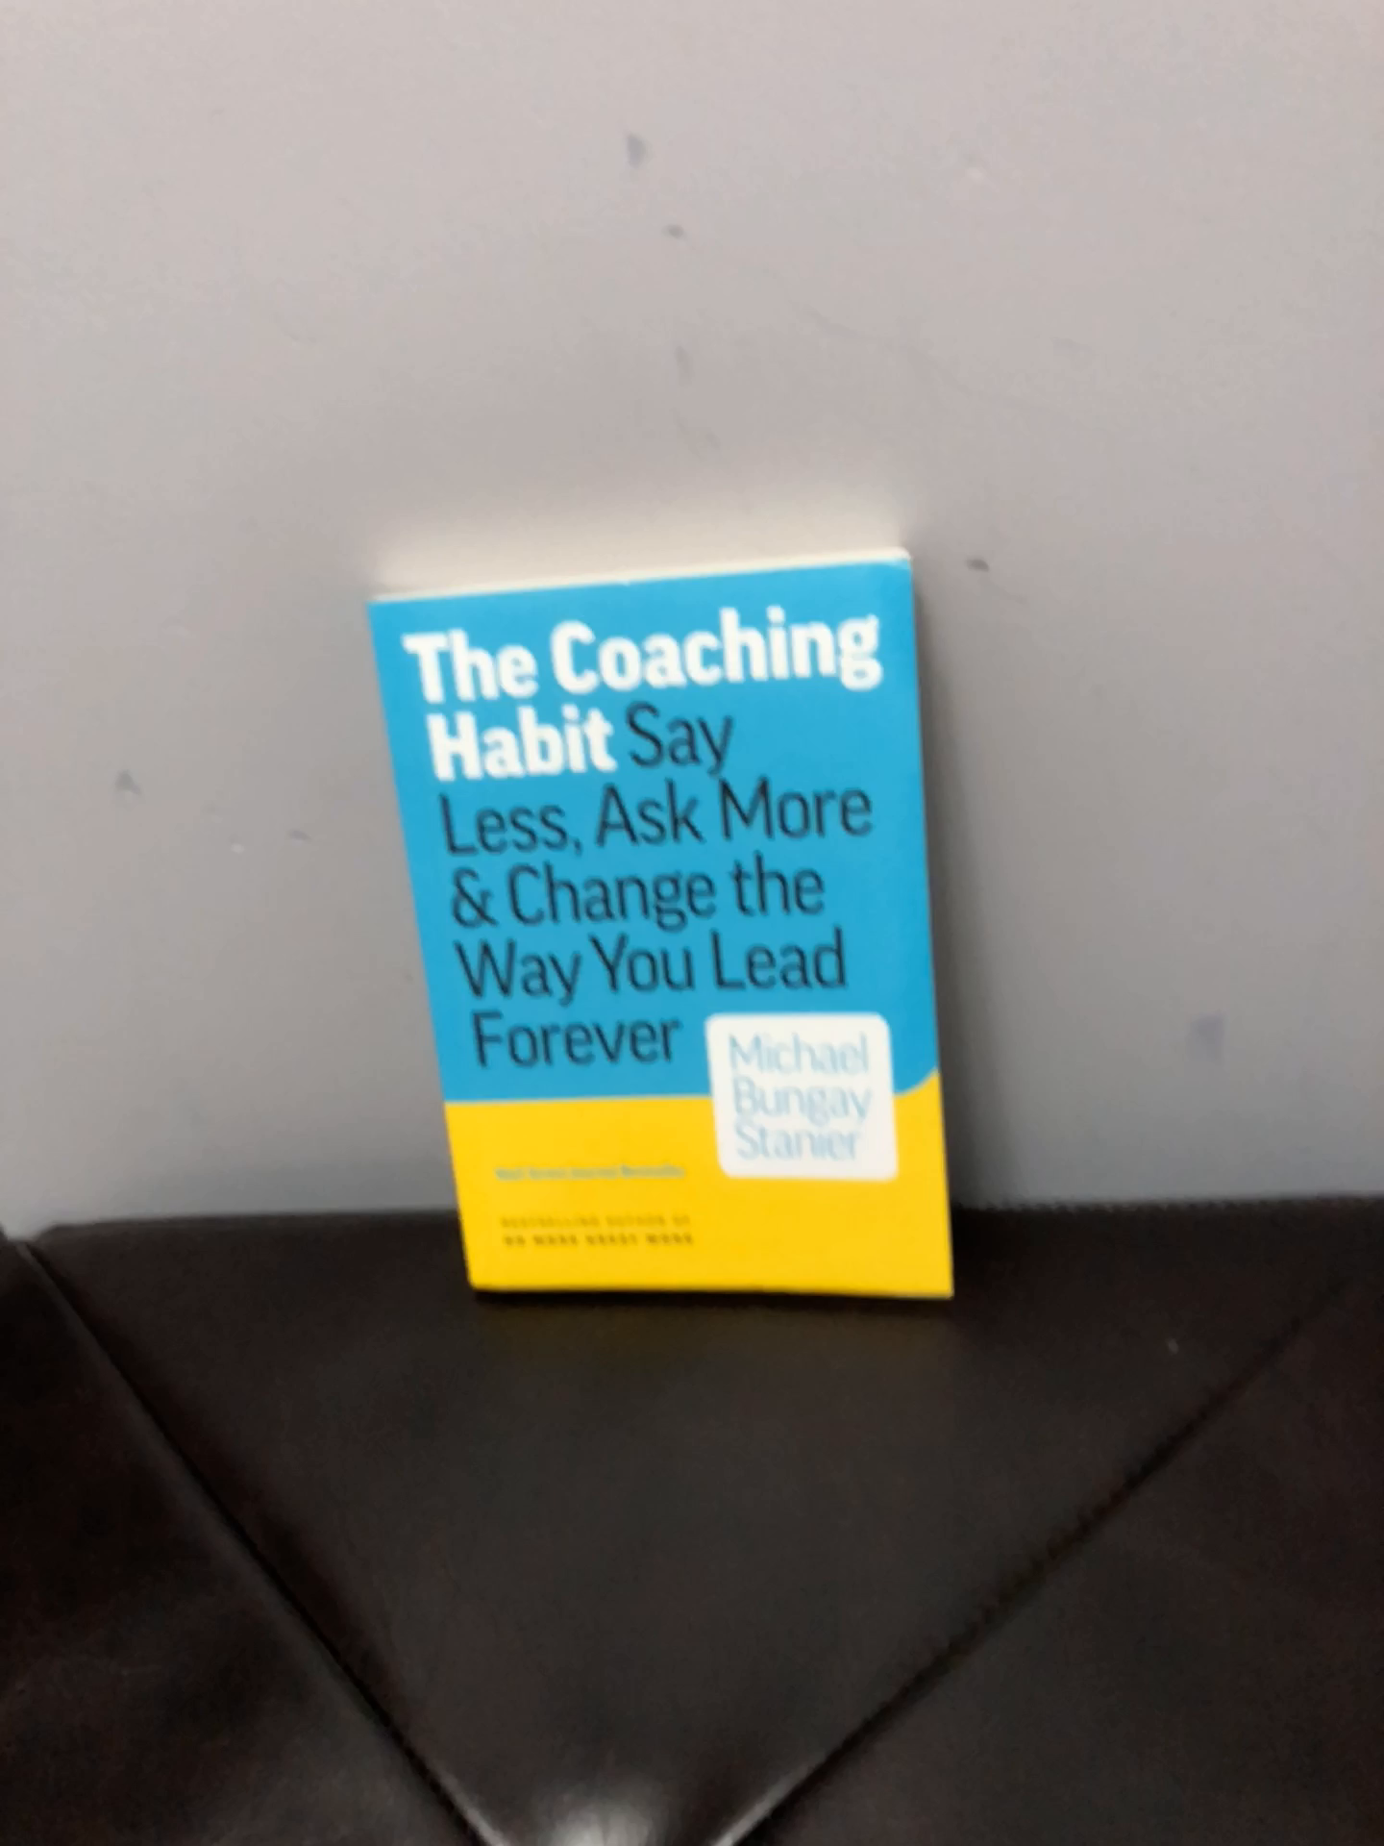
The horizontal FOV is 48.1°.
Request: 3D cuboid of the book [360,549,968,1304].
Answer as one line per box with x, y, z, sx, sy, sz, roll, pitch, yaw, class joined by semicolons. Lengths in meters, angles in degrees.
-0.002;0.005;0.416;0.145;0.195;0.030;-2;15;10;book
